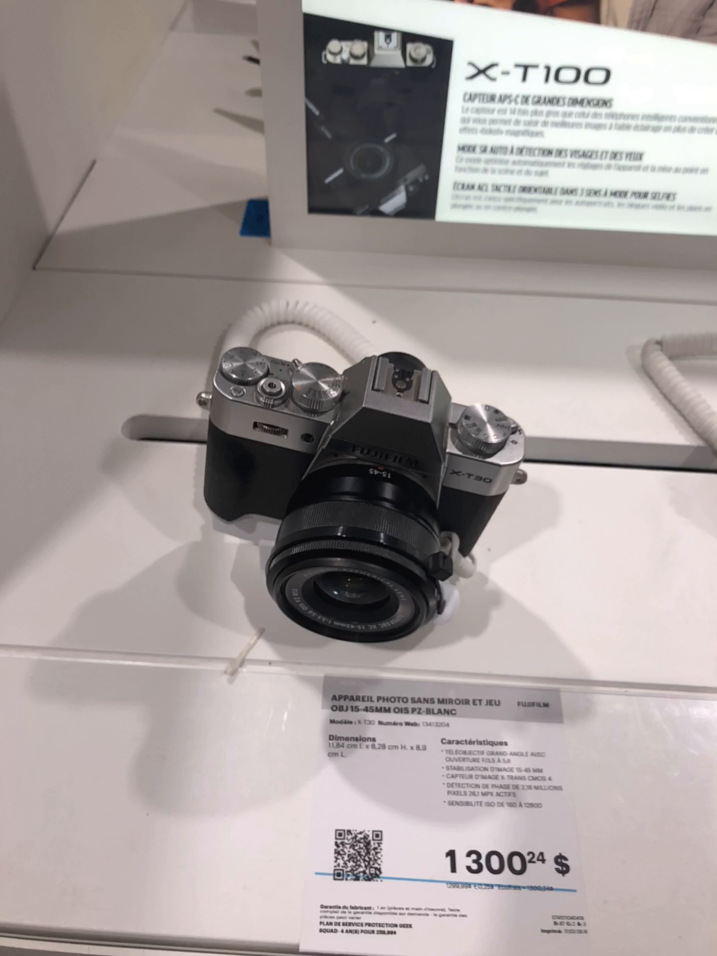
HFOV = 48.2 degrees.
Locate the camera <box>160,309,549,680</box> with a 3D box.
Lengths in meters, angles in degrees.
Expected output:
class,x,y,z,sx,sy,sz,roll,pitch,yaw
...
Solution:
class,x,y,z,sx,sy,sz,roll,pitch,yaw
camera,0.000,0.007,0.327,0.130,0.089,0.091,12,48,1
